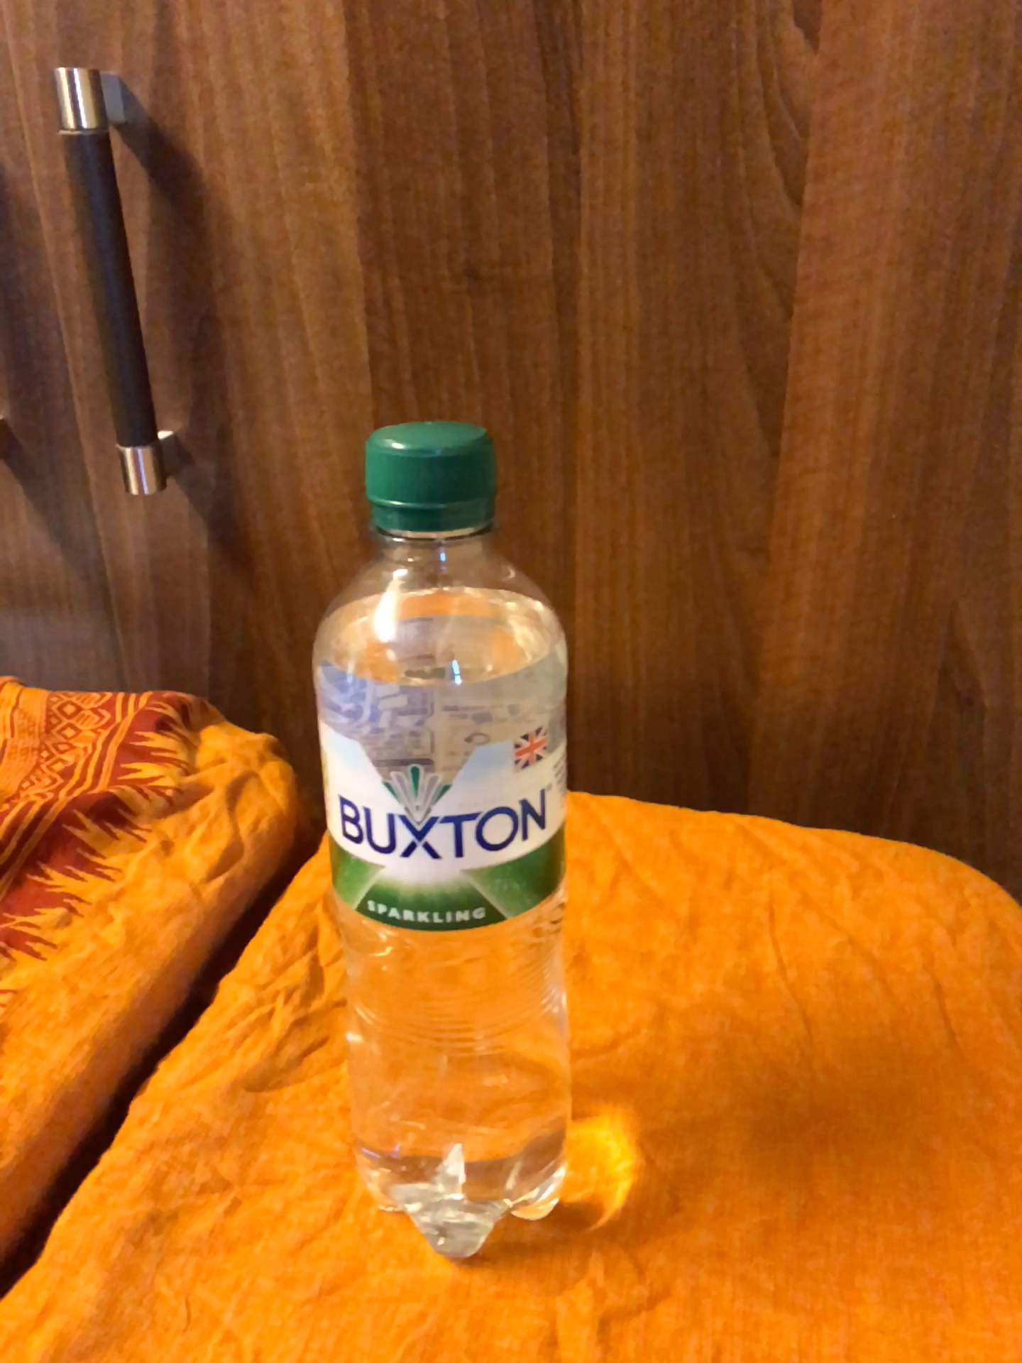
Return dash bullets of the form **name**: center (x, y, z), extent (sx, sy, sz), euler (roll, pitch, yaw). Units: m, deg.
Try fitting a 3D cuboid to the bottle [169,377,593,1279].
- **bottle**: center (-0.022, 0.042, 0.291), extent (0.070, 0.218, 0.070), euler (-1, 27, 0)
